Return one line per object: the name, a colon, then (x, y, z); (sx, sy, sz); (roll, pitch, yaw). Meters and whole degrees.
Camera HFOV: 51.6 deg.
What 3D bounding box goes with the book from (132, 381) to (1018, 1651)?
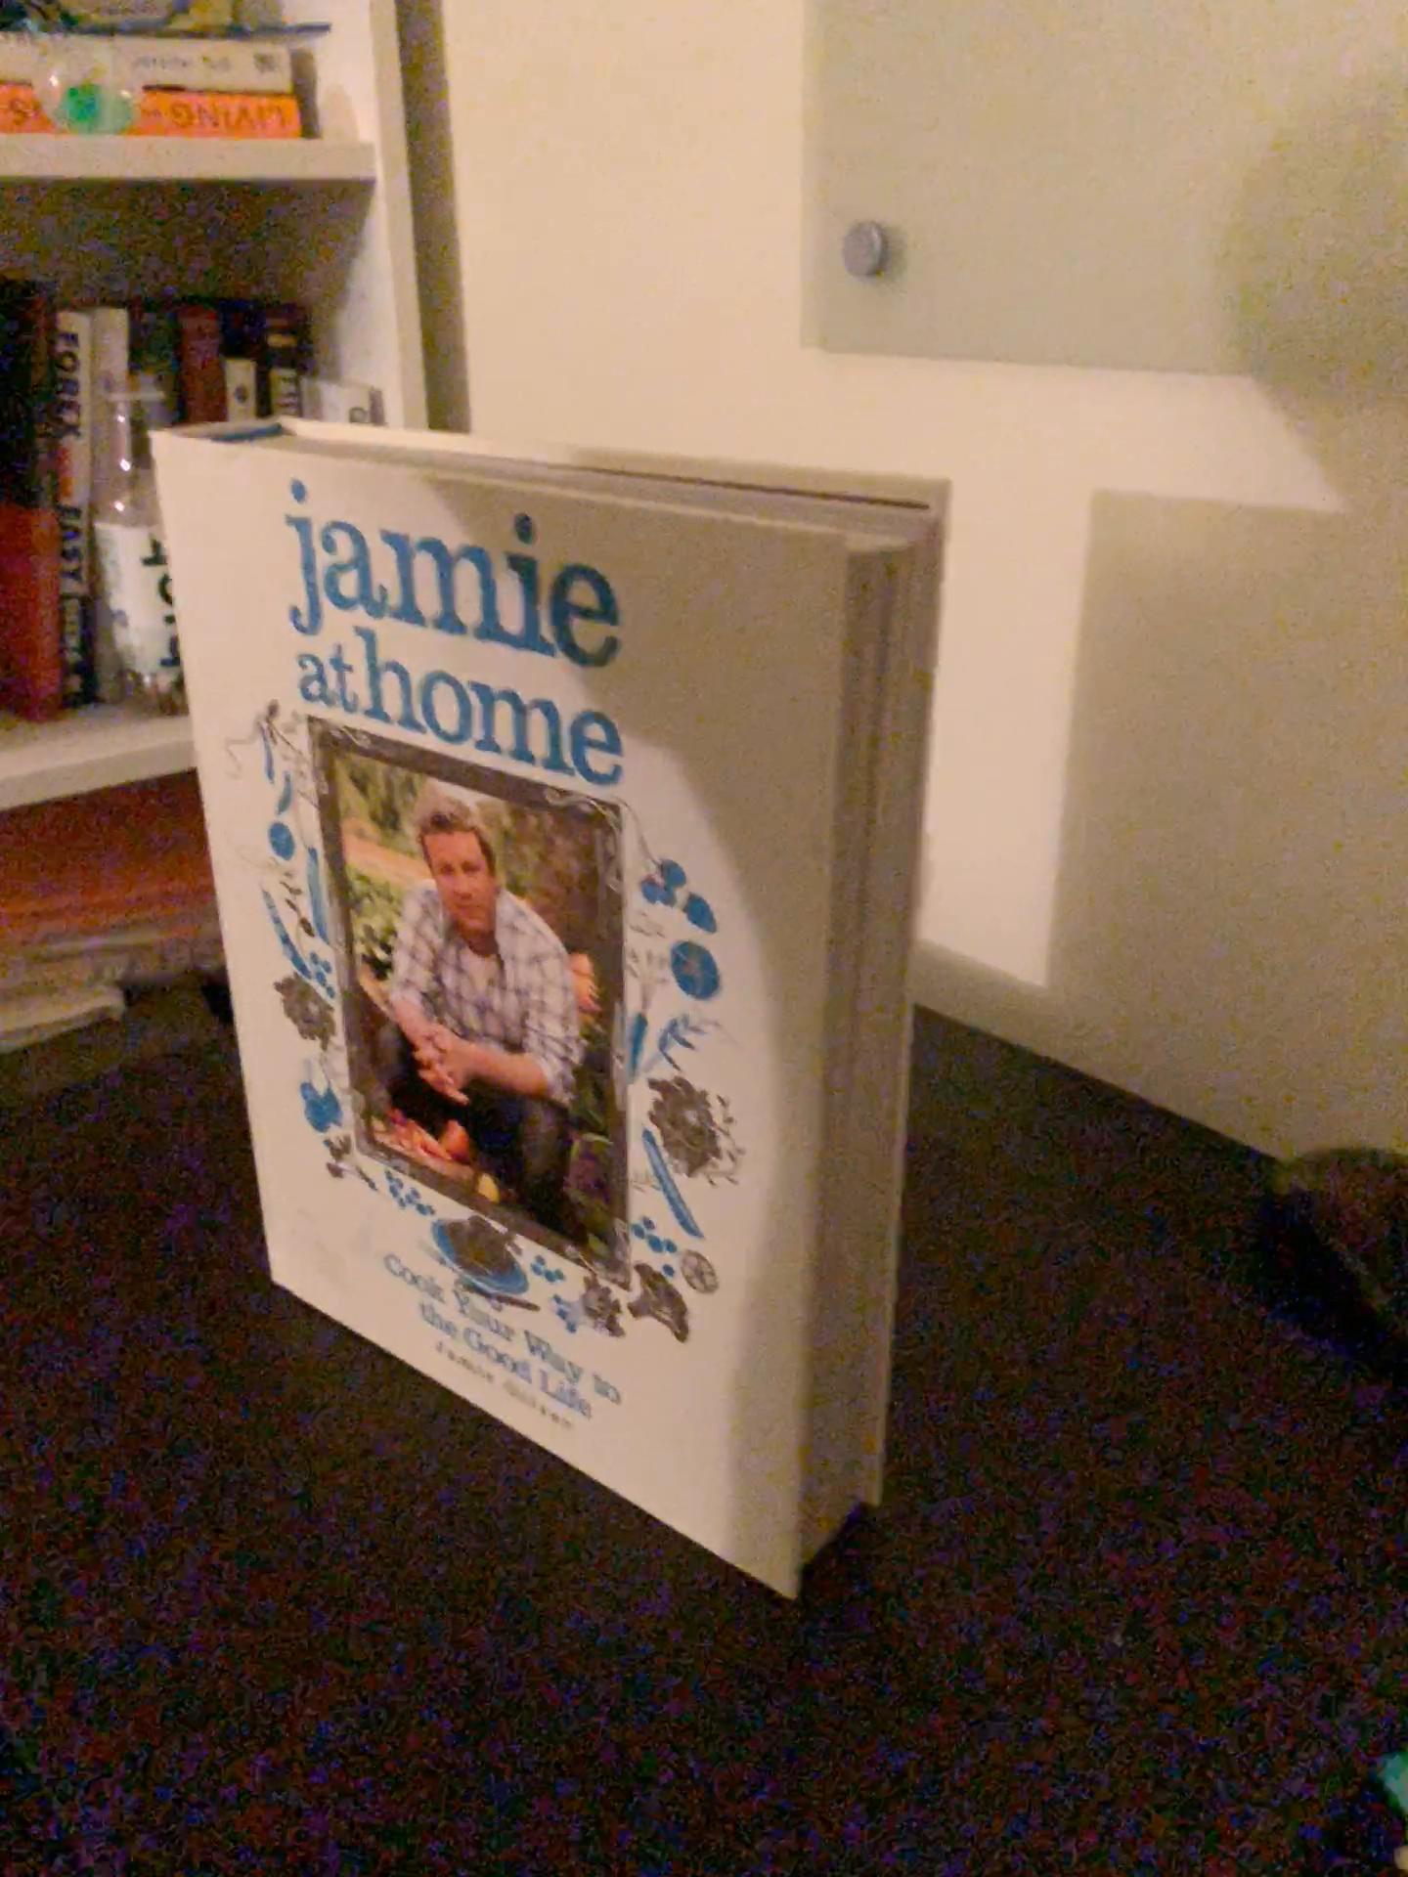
book: (-0.039, 0.010, 0.365); (0.211, 0.269, 0.050); (18, 31, 35)
